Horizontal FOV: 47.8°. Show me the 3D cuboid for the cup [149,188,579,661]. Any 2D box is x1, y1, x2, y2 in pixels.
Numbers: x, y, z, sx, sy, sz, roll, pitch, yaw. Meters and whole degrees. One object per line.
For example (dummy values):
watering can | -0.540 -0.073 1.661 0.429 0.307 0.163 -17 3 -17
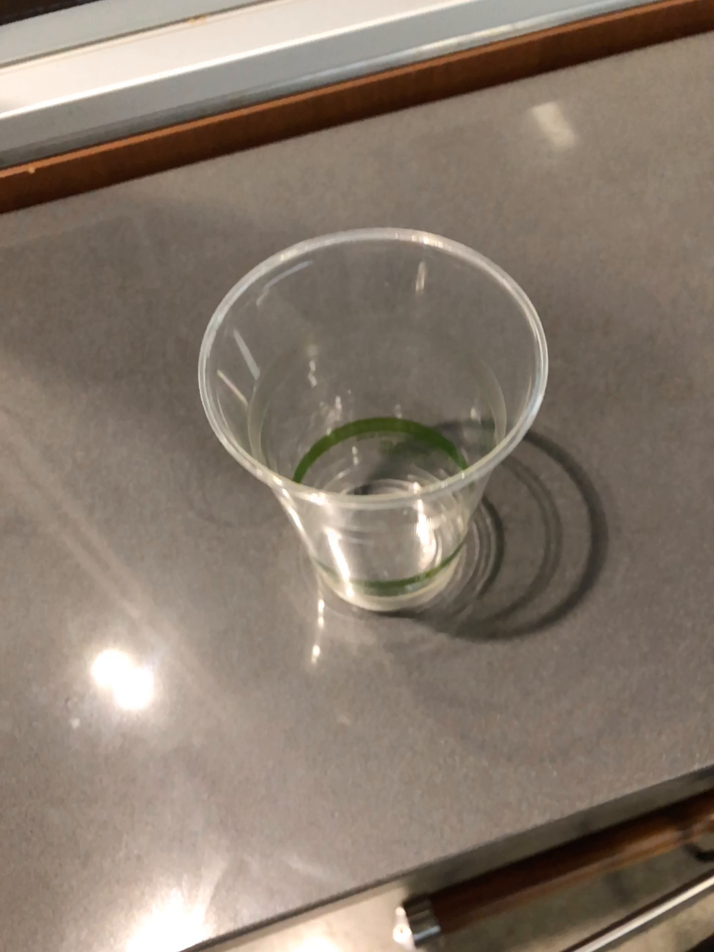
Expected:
cup | 0.010 -0.014 0.271 0.100 0.110 0.100 -2 58 4
